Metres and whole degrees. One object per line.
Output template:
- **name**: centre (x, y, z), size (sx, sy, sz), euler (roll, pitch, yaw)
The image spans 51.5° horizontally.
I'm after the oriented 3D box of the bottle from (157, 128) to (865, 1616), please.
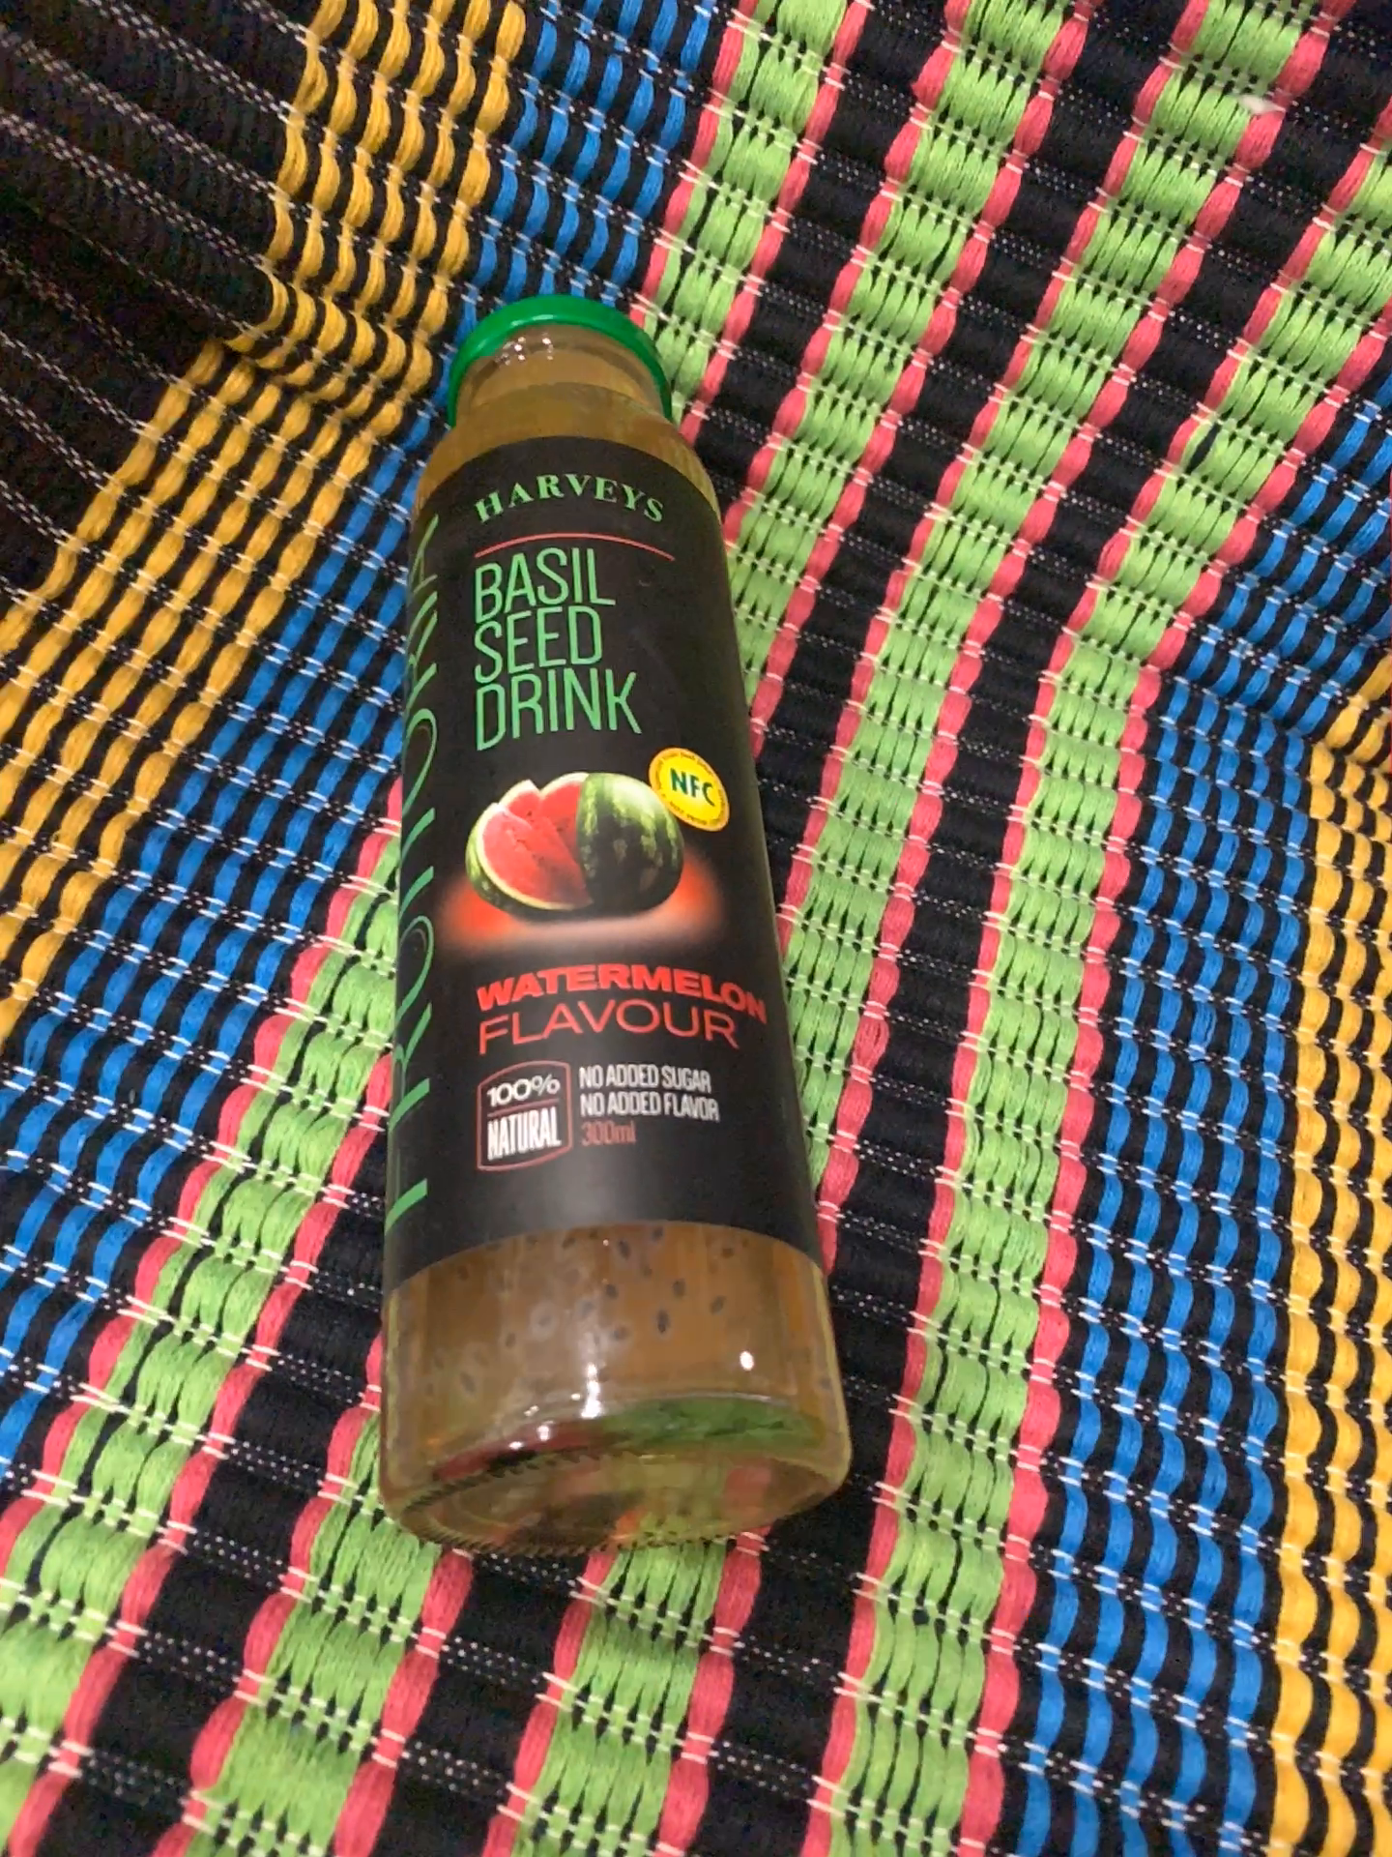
- **bottle**: centre (-0.021, -0.021, 0.201), size (0.060, 0.060, 0.200), euler (-8, 58, 4)
